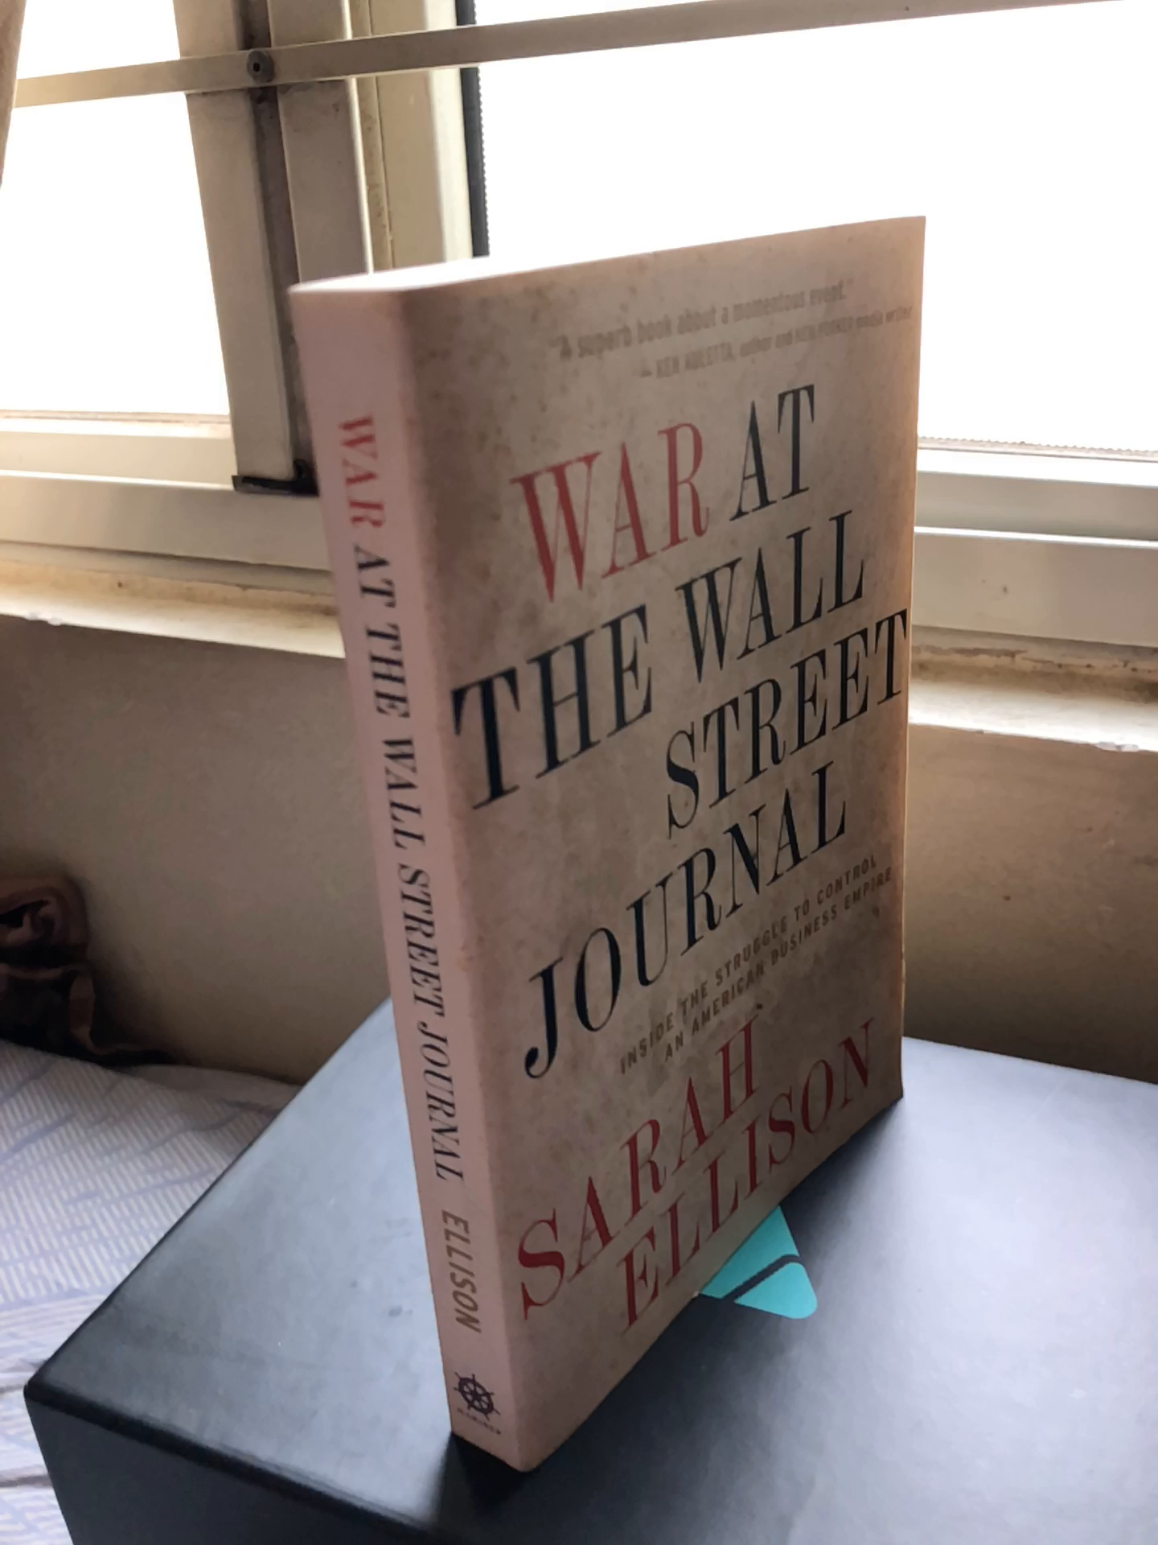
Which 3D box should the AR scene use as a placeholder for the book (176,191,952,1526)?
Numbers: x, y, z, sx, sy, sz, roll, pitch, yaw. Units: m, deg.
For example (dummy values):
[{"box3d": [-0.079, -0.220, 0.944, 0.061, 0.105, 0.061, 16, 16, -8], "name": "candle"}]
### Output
[{"box3d": [0.016, 0.004, 0.237, 0.030, 0.199, 0.150, 15, 29, 37], "name": "book"}]
